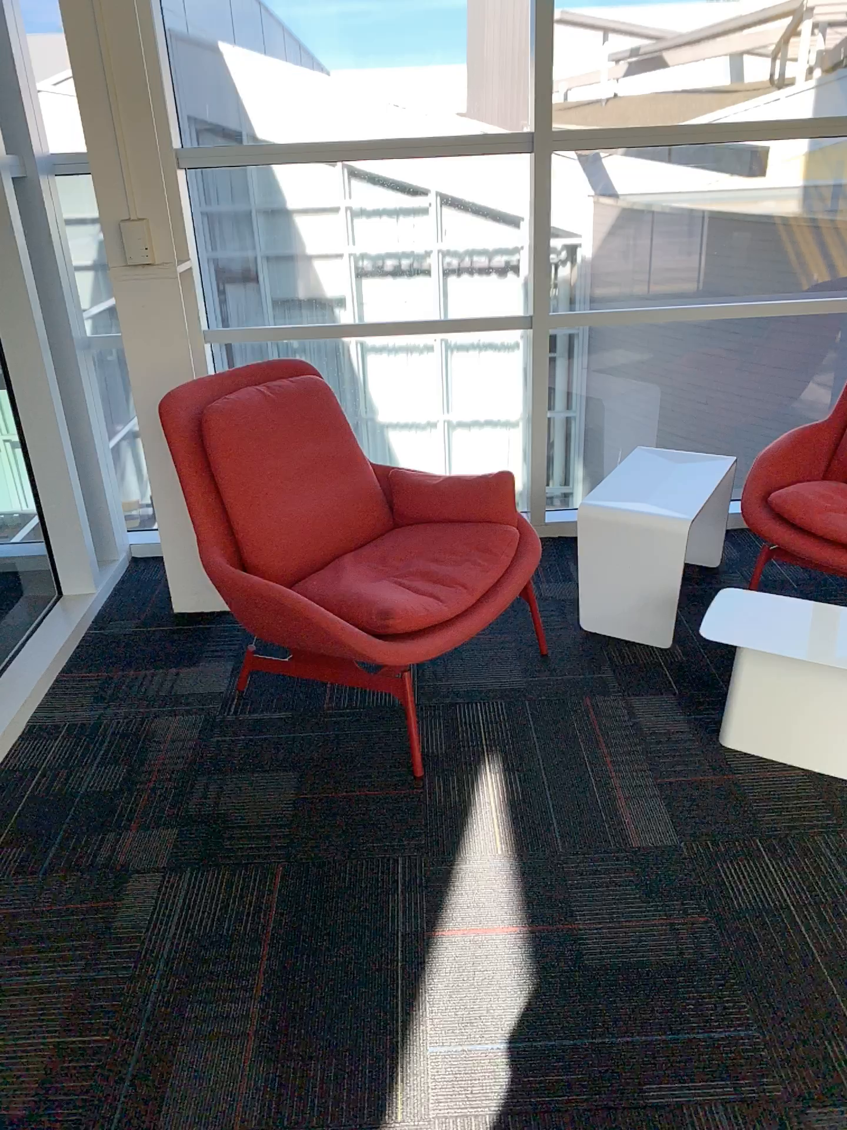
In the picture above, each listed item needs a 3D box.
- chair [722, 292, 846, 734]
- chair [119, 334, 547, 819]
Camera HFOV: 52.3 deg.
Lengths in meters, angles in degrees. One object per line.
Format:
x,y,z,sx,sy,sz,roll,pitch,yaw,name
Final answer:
1.590,-0.256,2.732,0.873,0.994,0.922,16,31,34,chair
-0.201,-0.052,2.619,0.822,1.054,0.873,14,31,32,chair
